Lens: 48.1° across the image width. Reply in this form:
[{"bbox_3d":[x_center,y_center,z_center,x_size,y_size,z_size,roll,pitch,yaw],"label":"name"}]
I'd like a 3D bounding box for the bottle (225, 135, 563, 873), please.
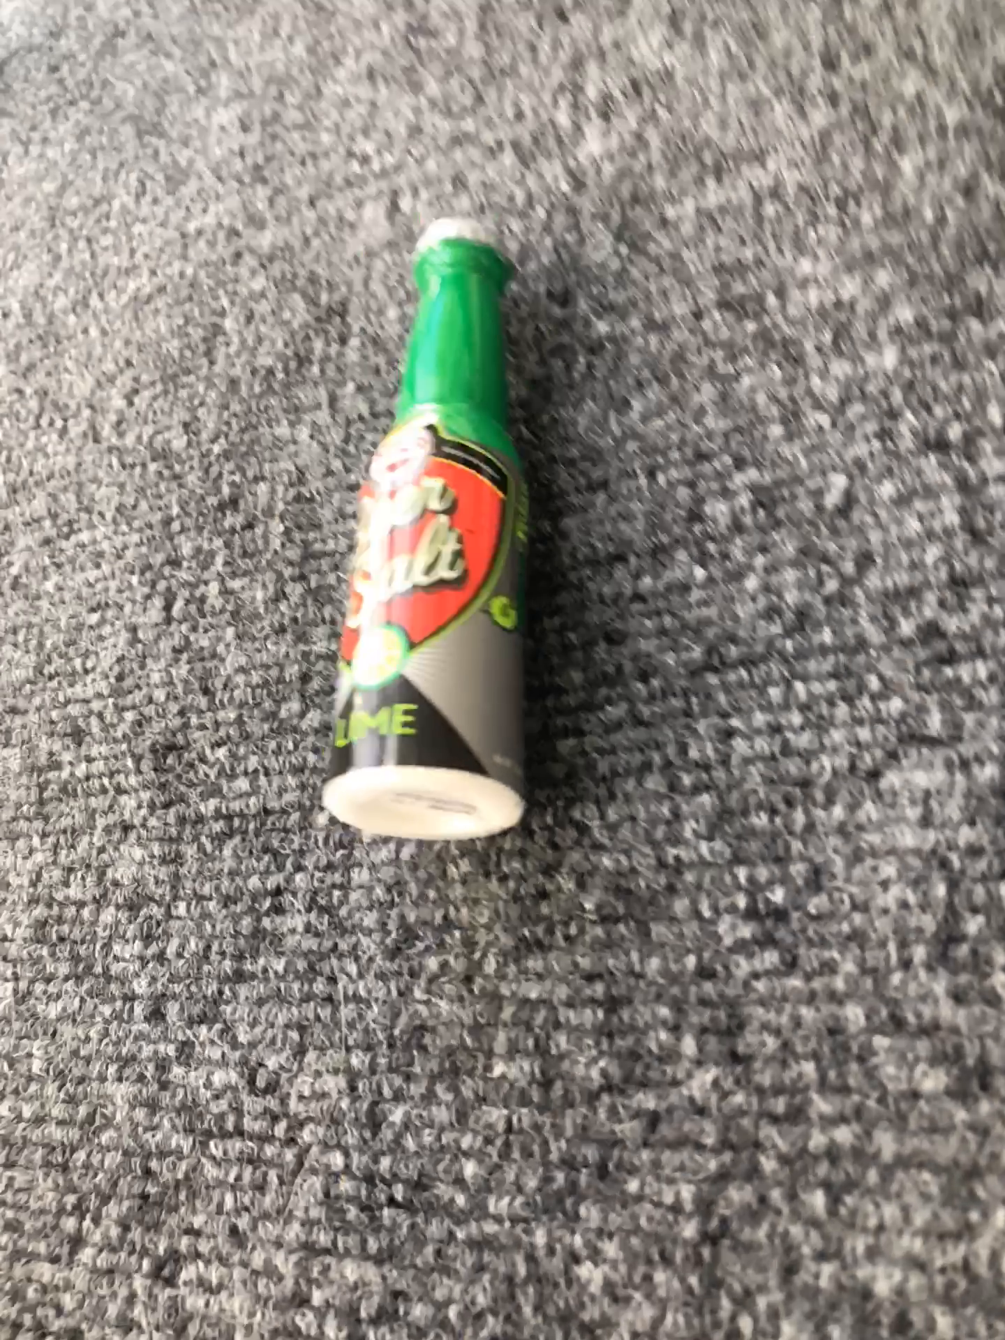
[{"bbox_3d":[-0.012,-0.025,0.167,0.033,0.030,0.101,-11,64,28],"label":"bottle"}]
